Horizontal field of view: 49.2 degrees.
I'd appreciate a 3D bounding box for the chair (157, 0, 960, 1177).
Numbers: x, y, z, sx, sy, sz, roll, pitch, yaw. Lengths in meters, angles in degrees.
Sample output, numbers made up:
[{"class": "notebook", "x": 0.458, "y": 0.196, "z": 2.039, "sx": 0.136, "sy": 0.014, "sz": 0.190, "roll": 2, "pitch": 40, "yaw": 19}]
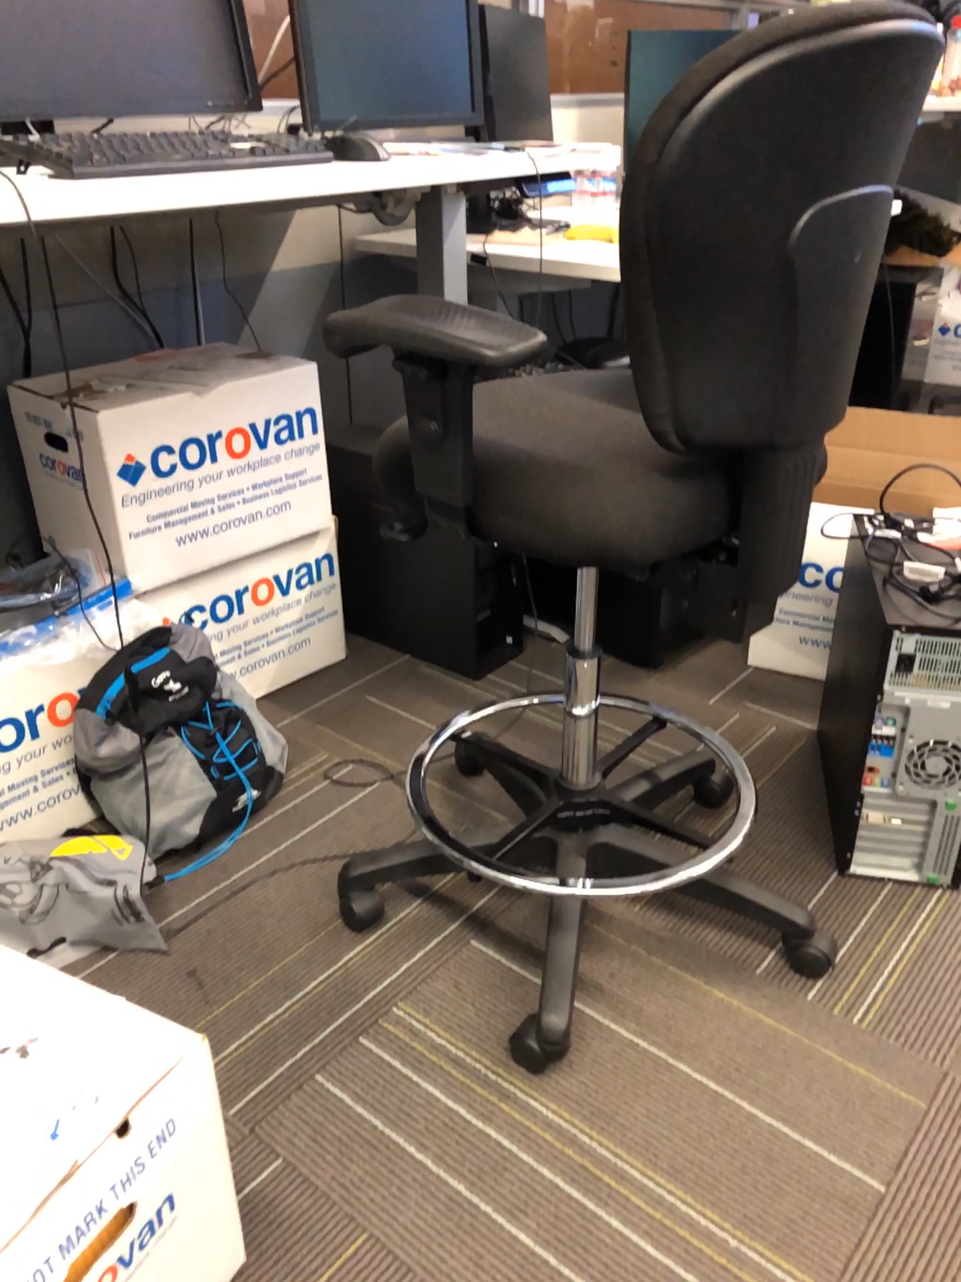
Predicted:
[{"class": "chair", "x": 0.158, "y": -0.147, "z": 1.315, "sx": 0.732, "sy": 1.134, "sz": 0.642, "roll": 23, "pitch": 35, "yaw": 38}]
